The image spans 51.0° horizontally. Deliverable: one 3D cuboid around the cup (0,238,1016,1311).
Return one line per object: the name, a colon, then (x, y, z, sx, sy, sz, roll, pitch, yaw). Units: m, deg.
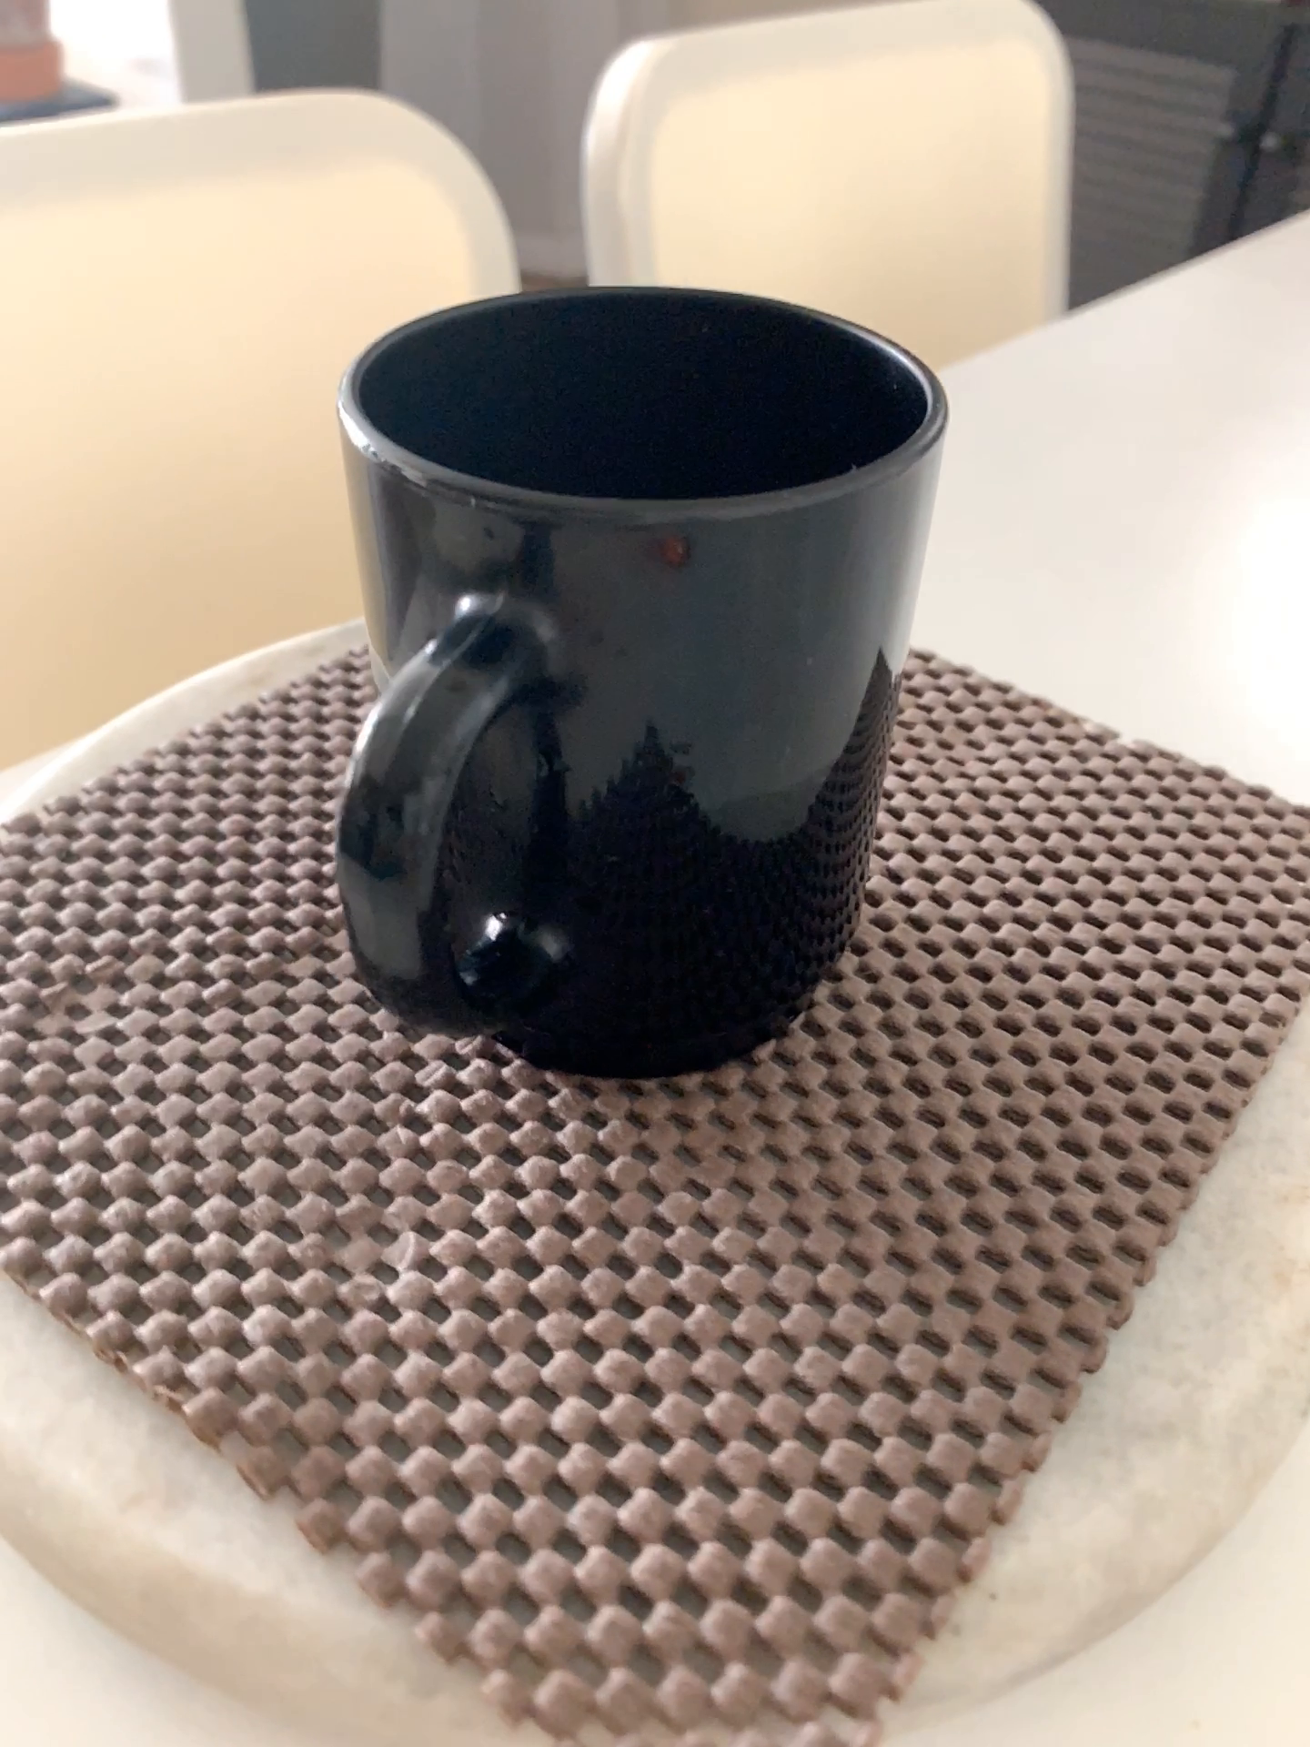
cup: (-0.007, -0.021, 0.174, 0.076, 0.080, 0.101, 13, 40, 13)
